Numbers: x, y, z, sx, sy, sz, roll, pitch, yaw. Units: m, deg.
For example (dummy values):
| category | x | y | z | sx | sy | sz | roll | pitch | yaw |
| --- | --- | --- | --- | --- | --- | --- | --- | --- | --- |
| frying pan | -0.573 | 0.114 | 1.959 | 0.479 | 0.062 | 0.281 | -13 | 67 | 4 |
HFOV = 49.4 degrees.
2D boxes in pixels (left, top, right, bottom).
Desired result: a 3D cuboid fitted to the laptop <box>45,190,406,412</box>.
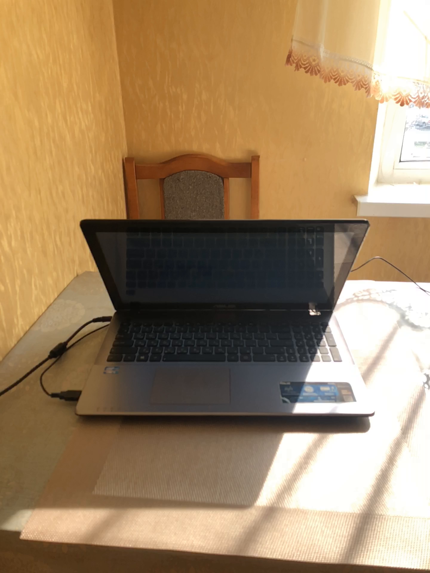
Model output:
| category | x | y | z | sx | sy | sz | roll | pitch | yaw |
| --- | --- | --- | --- | --- | --- | --- | --- | --- | --- |
| laptop | 0.011 | 0.004 | 0.621 | 0.362 | 0.200 | 0.245 | 0 | 26 | 1 |
